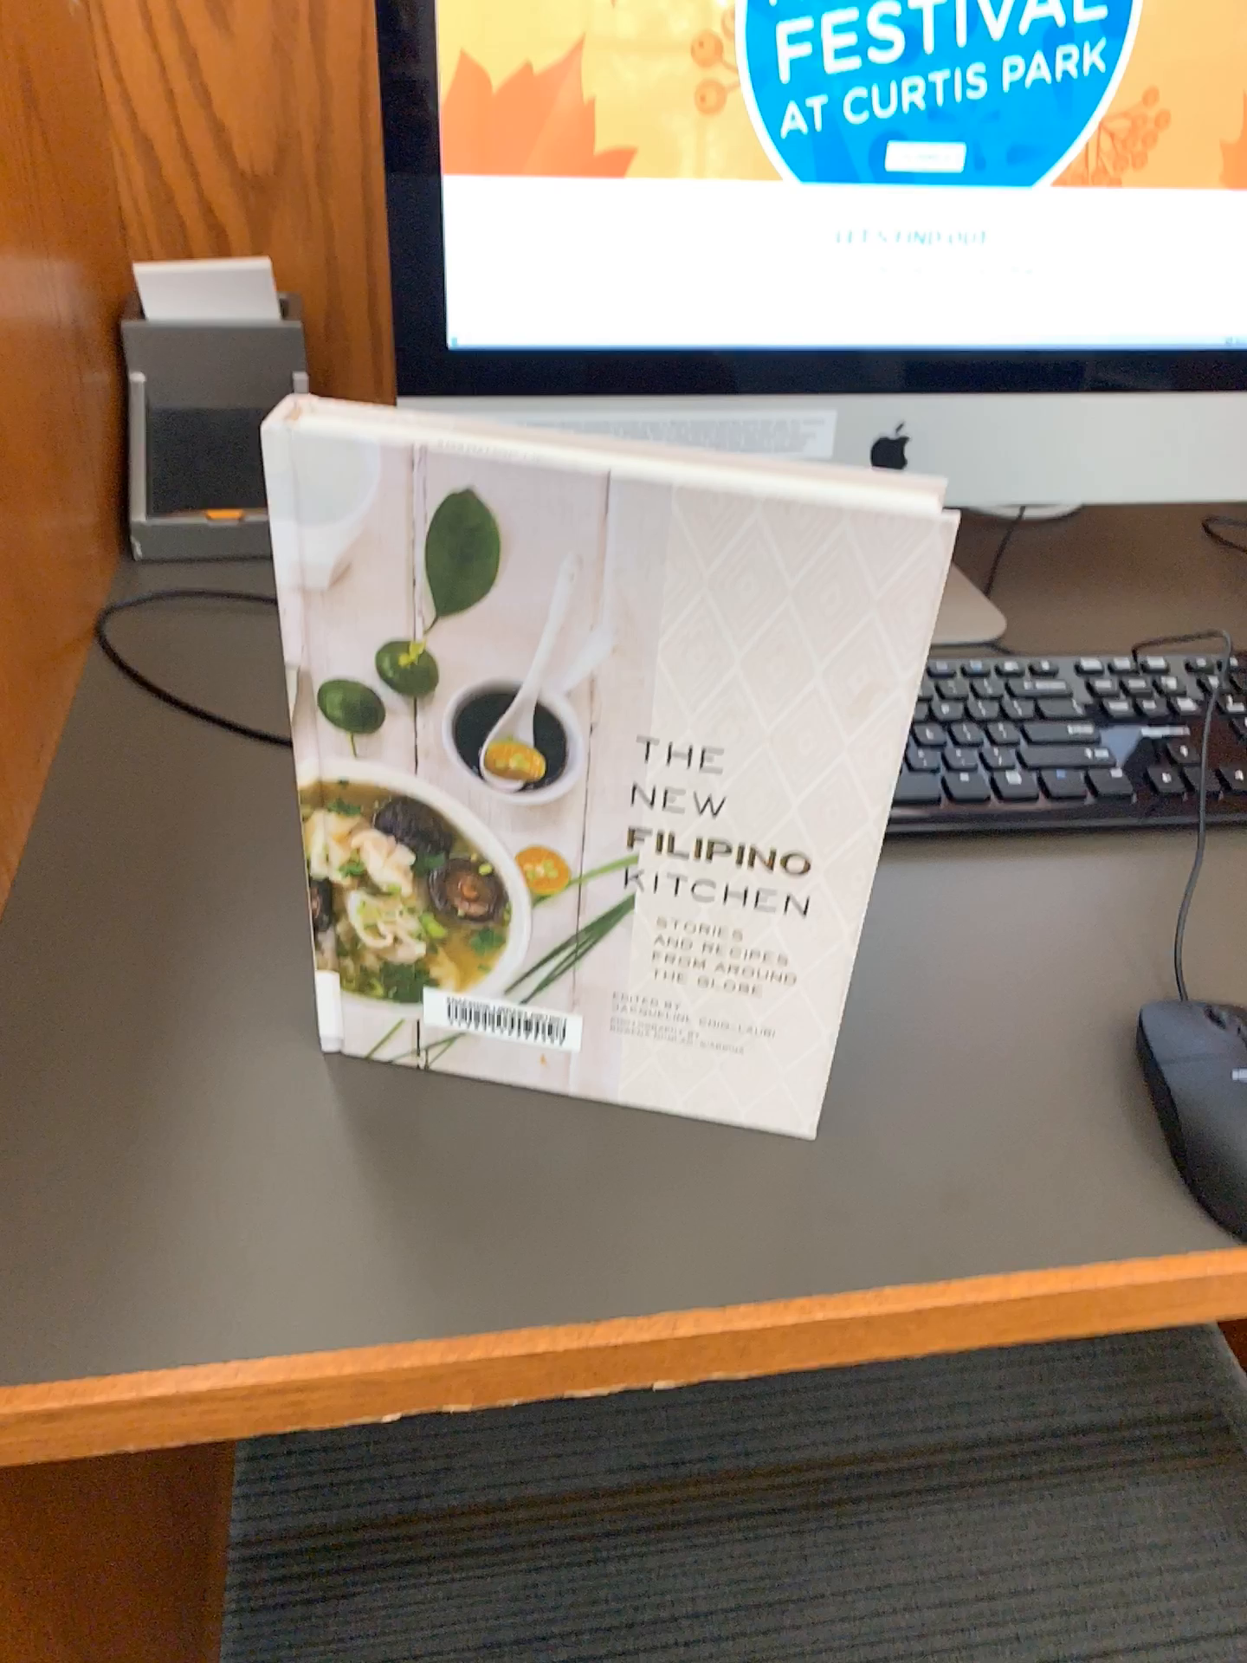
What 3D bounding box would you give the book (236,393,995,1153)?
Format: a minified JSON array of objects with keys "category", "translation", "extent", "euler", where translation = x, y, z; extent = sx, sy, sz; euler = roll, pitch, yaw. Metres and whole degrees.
[{"category":"book","translation":[-0.009,-0.005,0.399],"extent":[0.193,0.229,0.030],"euler":[9,36,7]}]
